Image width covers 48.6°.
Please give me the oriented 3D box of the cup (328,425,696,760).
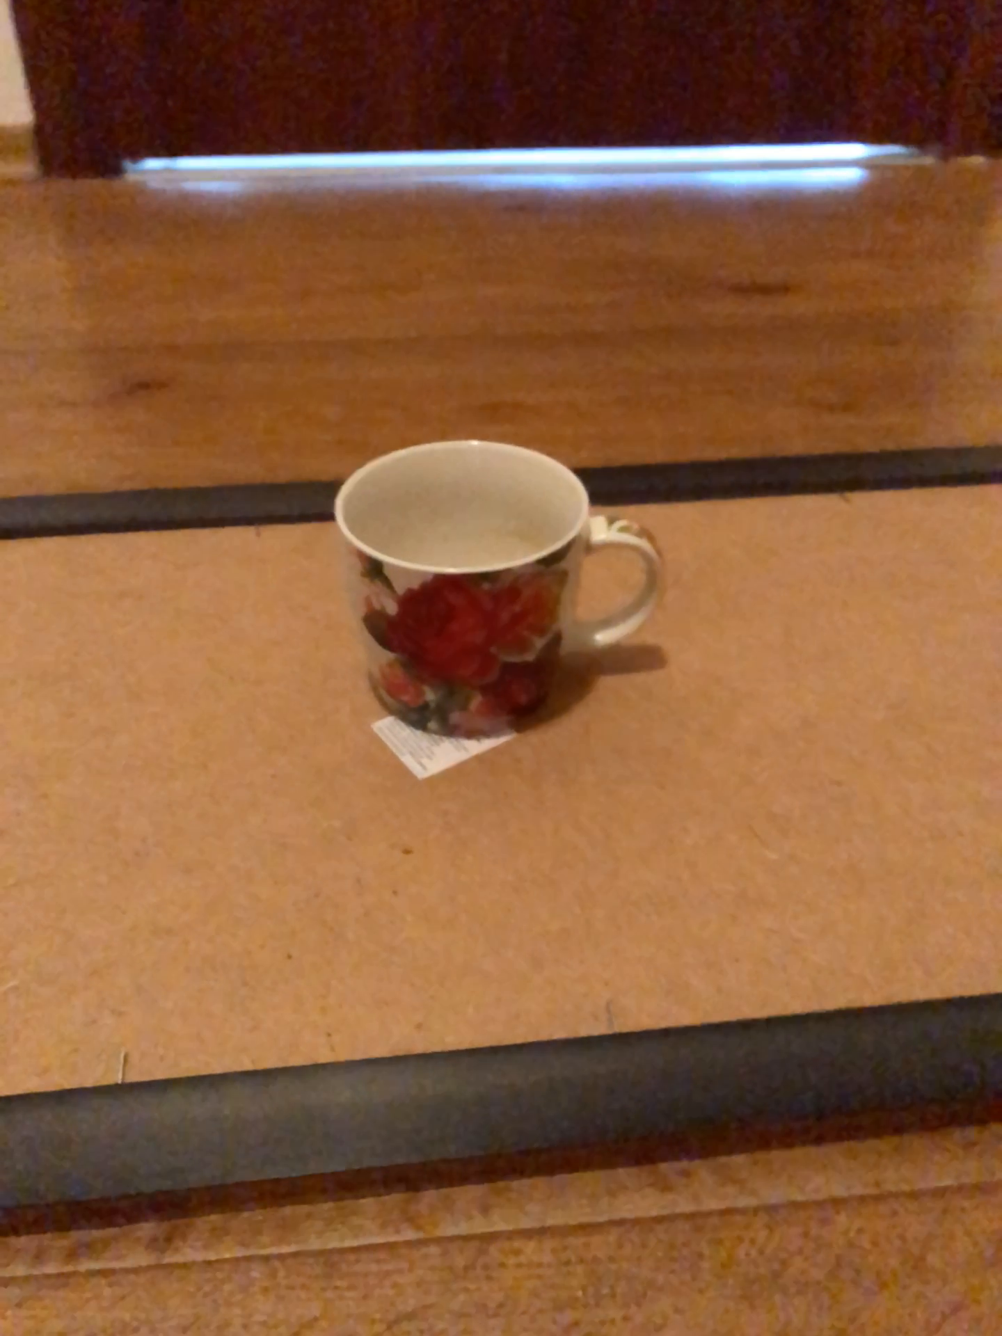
[{"bbox_3d":[-0.002,-0.032,0.425,0.121,0.079,0.098,-4,38,-6],"label":"cup"}]
